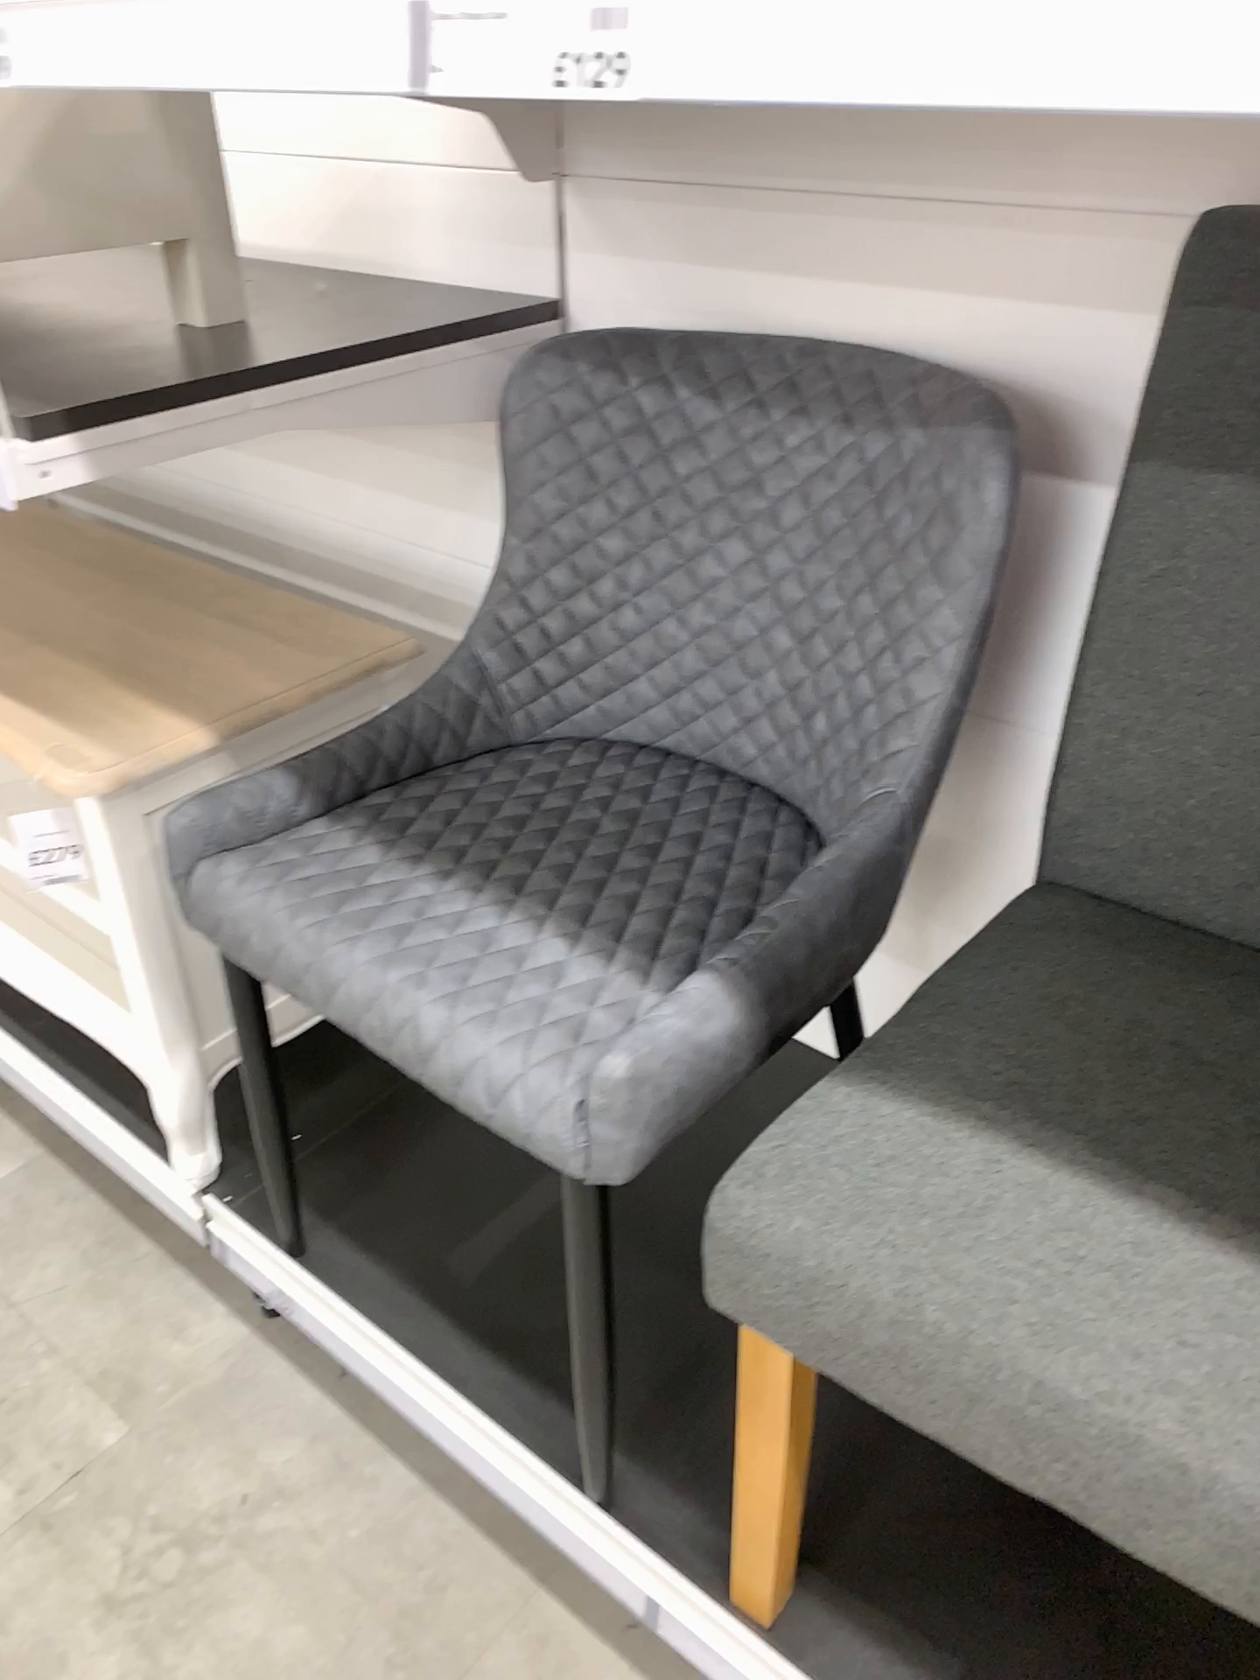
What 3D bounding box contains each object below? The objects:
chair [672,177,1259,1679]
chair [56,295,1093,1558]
[{"bbox_3d":[0.370,0.128,0.806,0.432,0.911,0.563,22,38,33],"label":"chair"},{"bbox_3d":[-0.016,0.022,1.097,0.482,0.792,0.543,23,38,33],"label":"chair"}]
